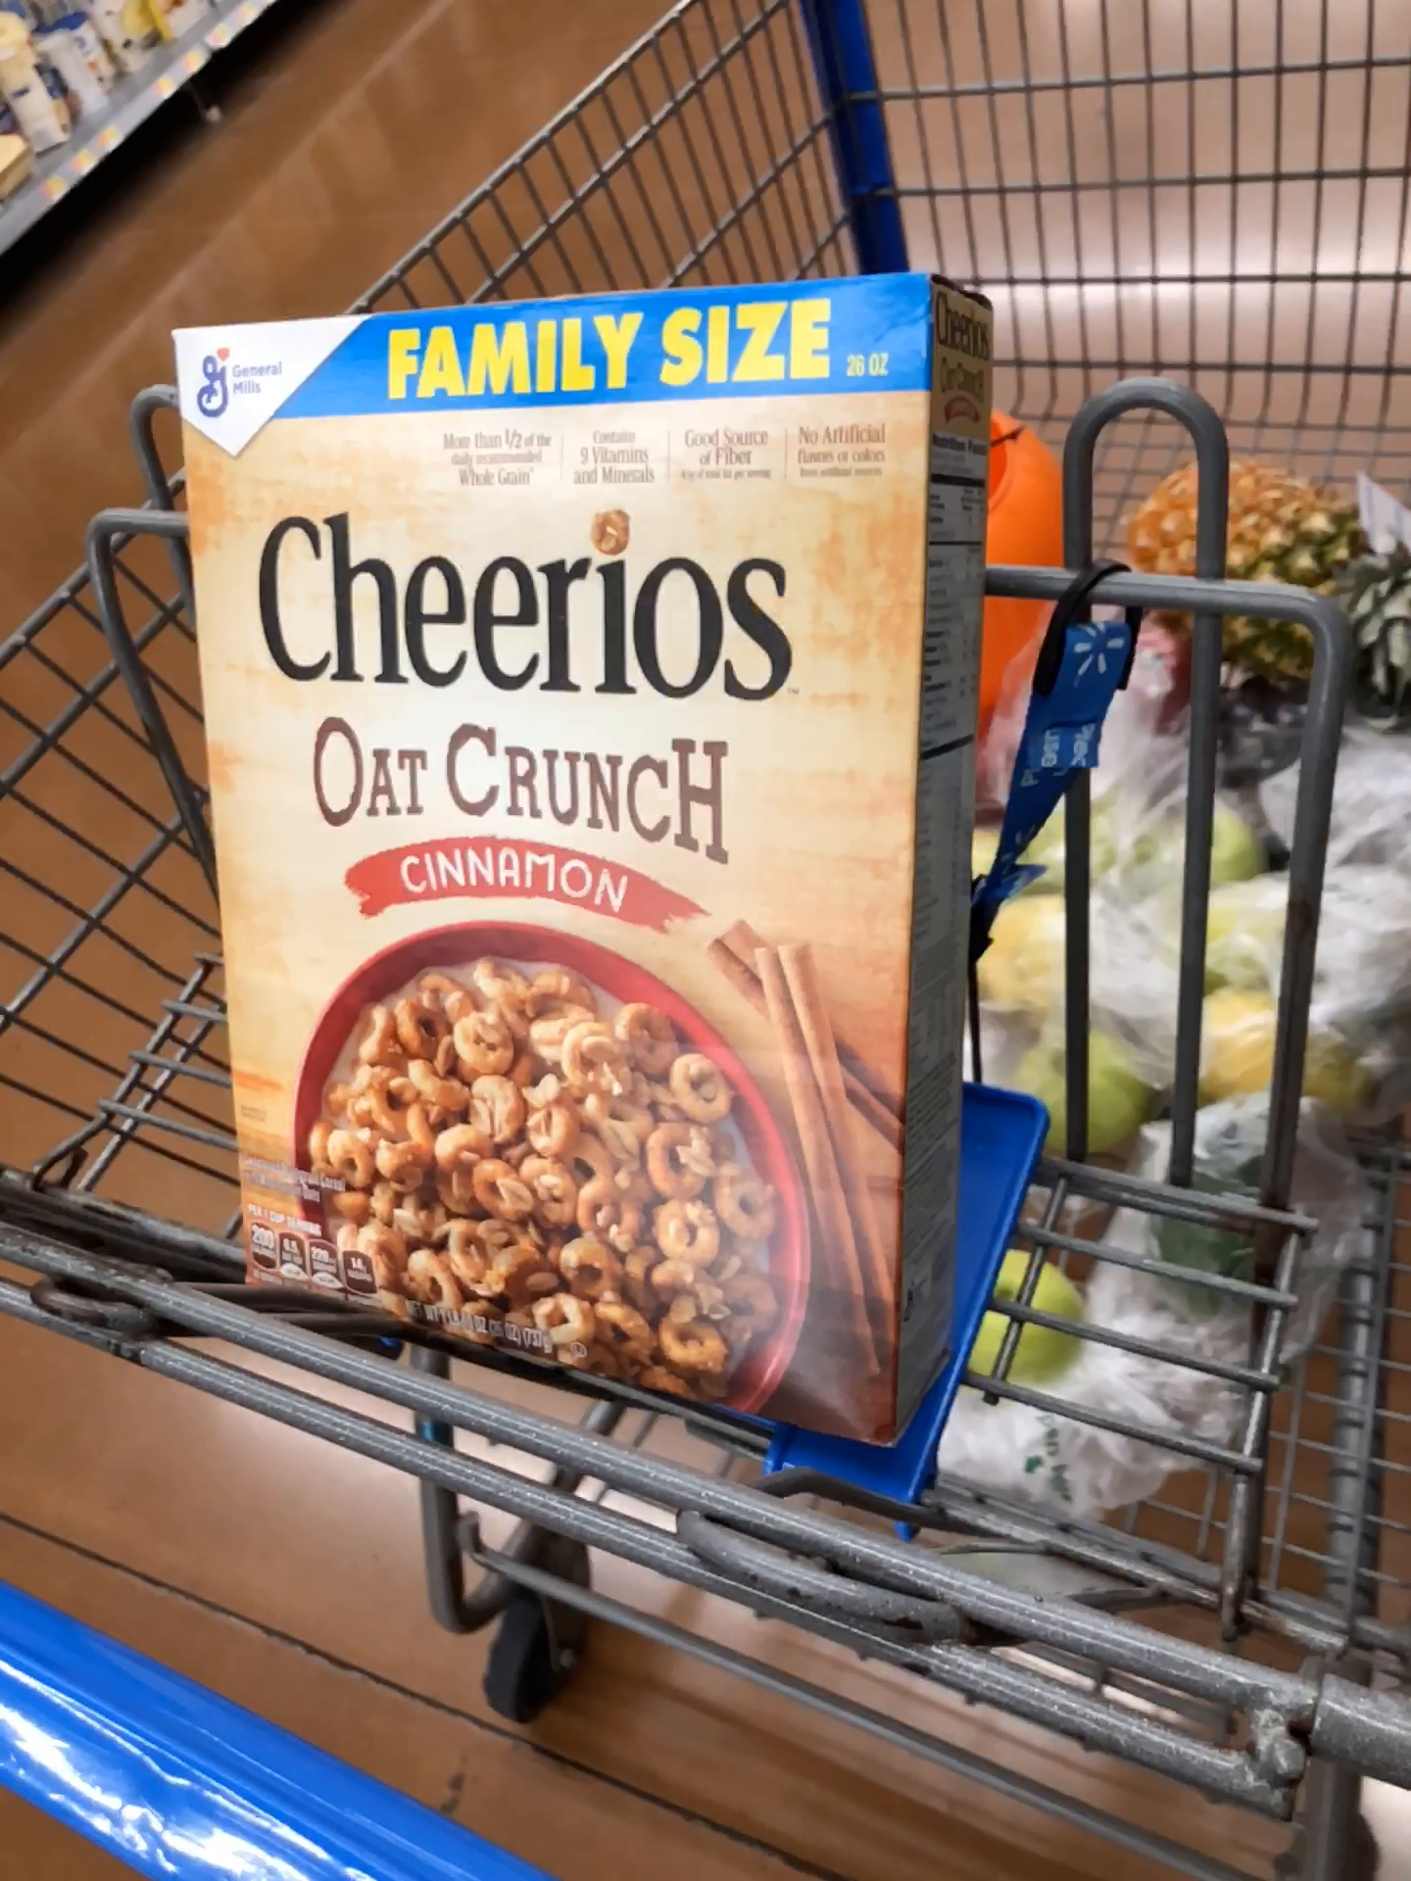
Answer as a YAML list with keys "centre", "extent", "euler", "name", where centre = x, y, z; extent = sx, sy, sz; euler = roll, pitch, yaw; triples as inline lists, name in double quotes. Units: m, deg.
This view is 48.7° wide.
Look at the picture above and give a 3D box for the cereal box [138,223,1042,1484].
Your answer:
- centre: [-0.038, -0.029, 0.487]
  extent: [0.251, 0.330, 0.080]
  euler: [7, 16, 25]
  name: "cereal box"
